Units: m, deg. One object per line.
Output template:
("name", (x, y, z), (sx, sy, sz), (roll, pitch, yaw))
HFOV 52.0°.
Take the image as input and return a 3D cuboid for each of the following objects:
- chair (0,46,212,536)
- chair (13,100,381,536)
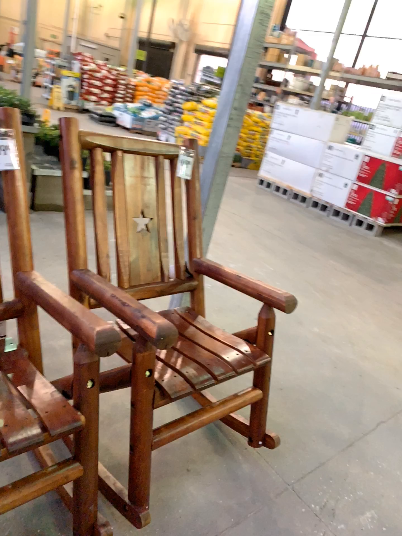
("chair", (-0.689, 0.186, 1.100), (0.674, 1.158, 1.020), (-6, 30, -42))
("chair", (-0.156, 0.117, 1.587), (0.674, 1.158, 1.020), (-6, 30, -42))
